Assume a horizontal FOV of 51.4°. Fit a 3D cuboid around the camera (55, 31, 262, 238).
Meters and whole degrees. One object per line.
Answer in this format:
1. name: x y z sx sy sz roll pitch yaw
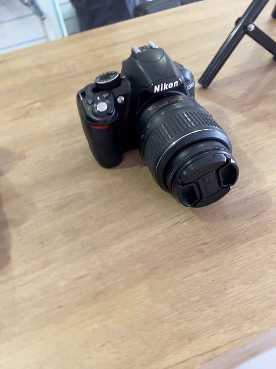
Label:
1. camera: 0.005 -0.064 0.291 0.130 0.090 0.181 -19 47 -8
